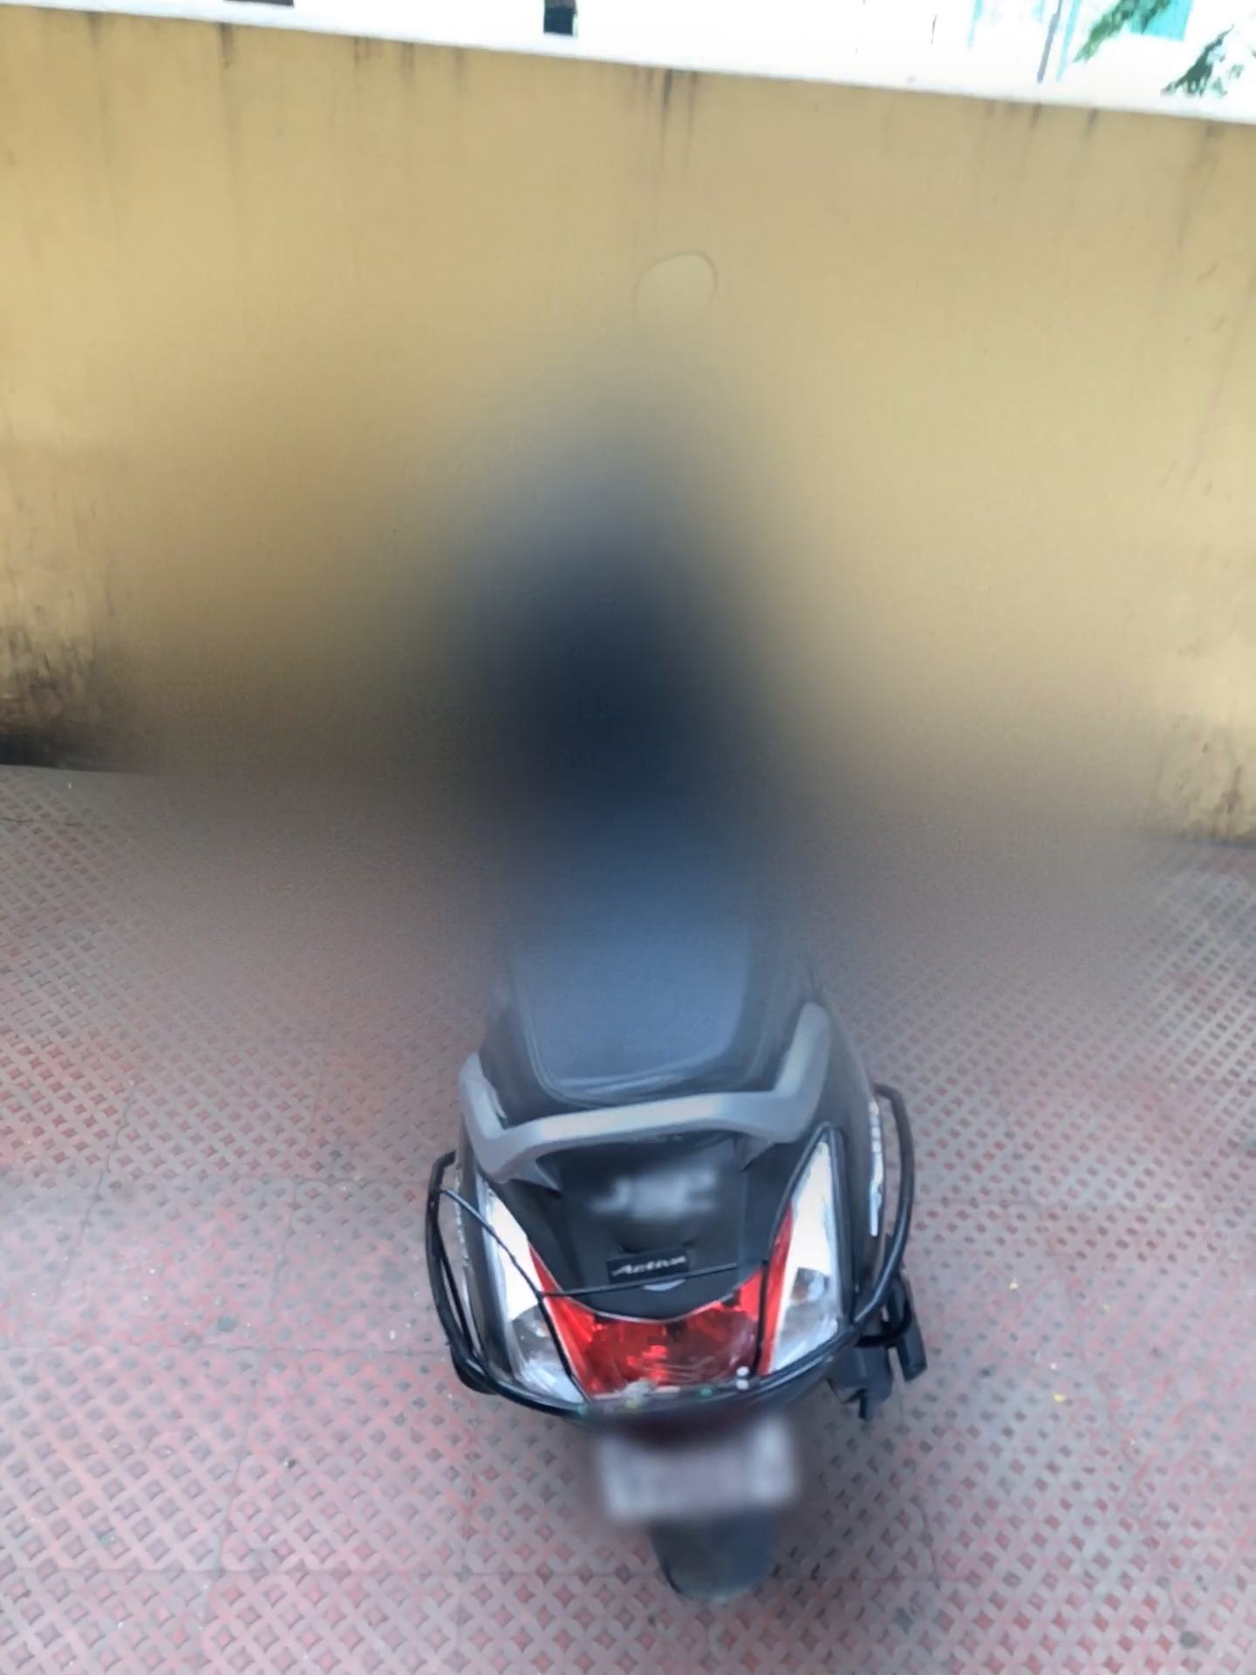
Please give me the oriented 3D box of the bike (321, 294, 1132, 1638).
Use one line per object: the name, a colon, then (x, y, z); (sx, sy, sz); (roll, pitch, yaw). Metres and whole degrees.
bike: (-0.060, 0.006, 1.908); (0.593, 1.045, 1.592); (0, 36, -9)
